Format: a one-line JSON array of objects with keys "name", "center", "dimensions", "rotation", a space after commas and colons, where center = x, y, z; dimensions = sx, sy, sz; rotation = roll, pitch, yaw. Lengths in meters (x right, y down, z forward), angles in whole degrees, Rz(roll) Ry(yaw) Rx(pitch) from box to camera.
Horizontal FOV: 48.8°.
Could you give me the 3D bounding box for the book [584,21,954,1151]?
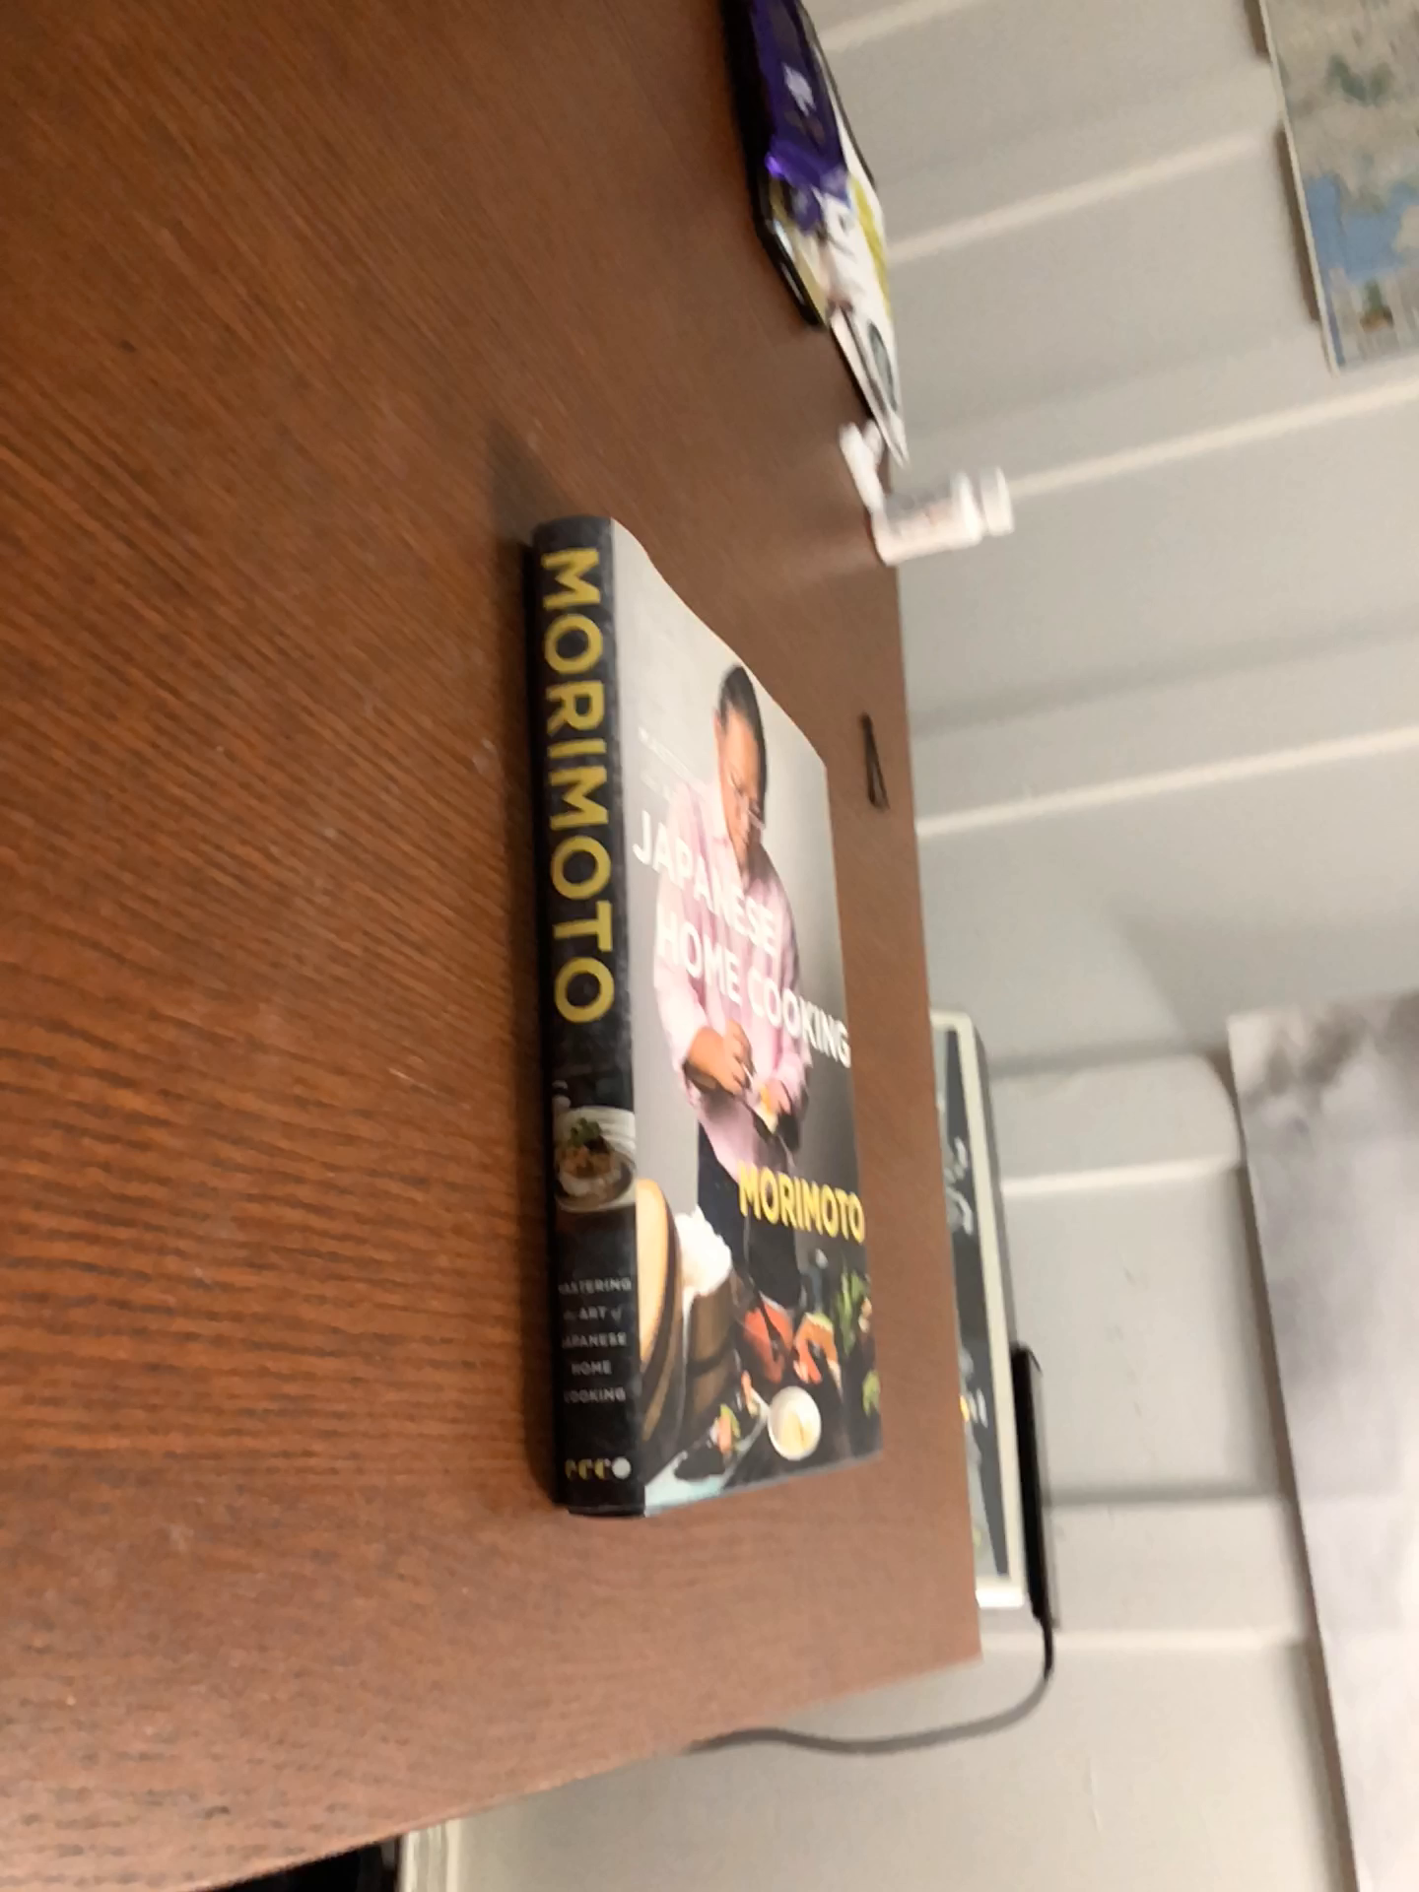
[{"name": "book", "center": [0.037, -0.119, 0.514], "dimensions": [0.220, 0.030, 0.301], "rotation": [58, 29, -48]}]
